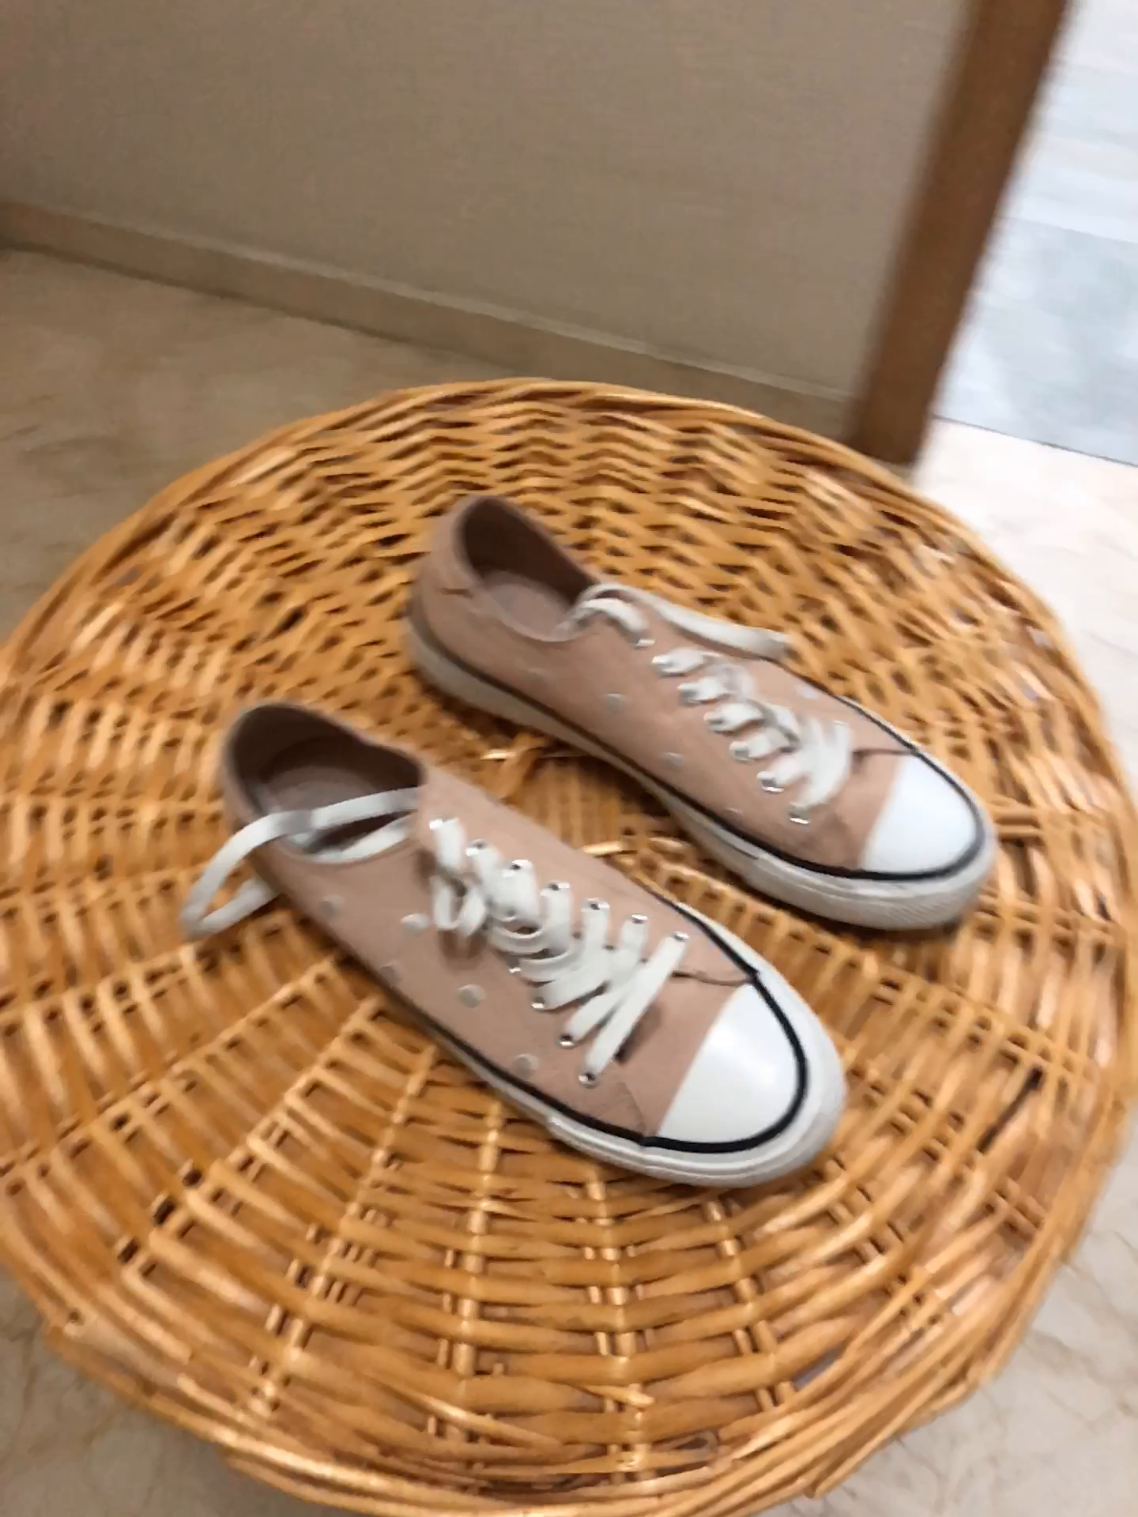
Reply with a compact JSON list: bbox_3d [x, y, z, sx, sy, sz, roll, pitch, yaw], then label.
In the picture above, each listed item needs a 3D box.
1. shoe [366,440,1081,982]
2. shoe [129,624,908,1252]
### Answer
[{"bbox_3d":[0.053,-0.020,0.491,0.246,0.085,0.087,25,60,11],"label":"shoe"},{"bbox_3d":[-0.019,0.064,0.453,0.246,0.095,0.093,29,73,17],"label":"shoe"}]
